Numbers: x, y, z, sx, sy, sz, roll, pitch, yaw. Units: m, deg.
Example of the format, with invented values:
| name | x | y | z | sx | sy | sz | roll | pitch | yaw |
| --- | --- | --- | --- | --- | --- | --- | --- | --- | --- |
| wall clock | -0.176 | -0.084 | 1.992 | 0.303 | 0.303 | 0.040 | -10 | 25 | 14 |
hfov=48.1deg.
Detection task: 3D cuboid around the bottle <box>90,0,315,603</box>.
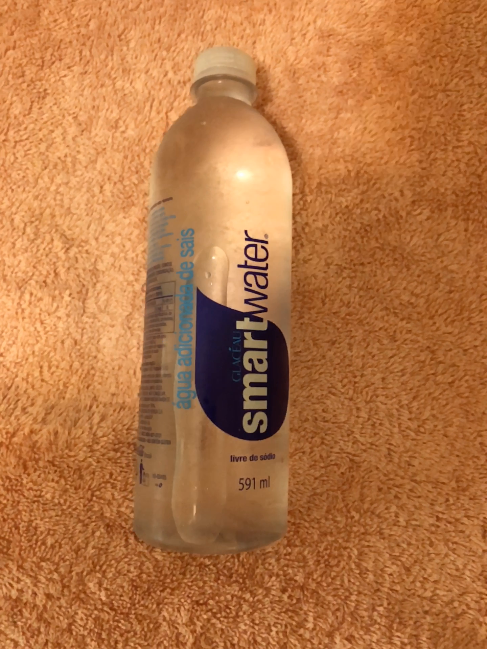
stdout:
| name | x | y | z | sx | sy | sz | roll | pitch | yaw |
| --- | --- | --- | --- | --- | --- | --- | --- | --- | --- |
| bottle | -0.015 | -0.014 | 0.228 | 0.080 | 0.050 | 0.230 | 0 | 86 | -3 |
